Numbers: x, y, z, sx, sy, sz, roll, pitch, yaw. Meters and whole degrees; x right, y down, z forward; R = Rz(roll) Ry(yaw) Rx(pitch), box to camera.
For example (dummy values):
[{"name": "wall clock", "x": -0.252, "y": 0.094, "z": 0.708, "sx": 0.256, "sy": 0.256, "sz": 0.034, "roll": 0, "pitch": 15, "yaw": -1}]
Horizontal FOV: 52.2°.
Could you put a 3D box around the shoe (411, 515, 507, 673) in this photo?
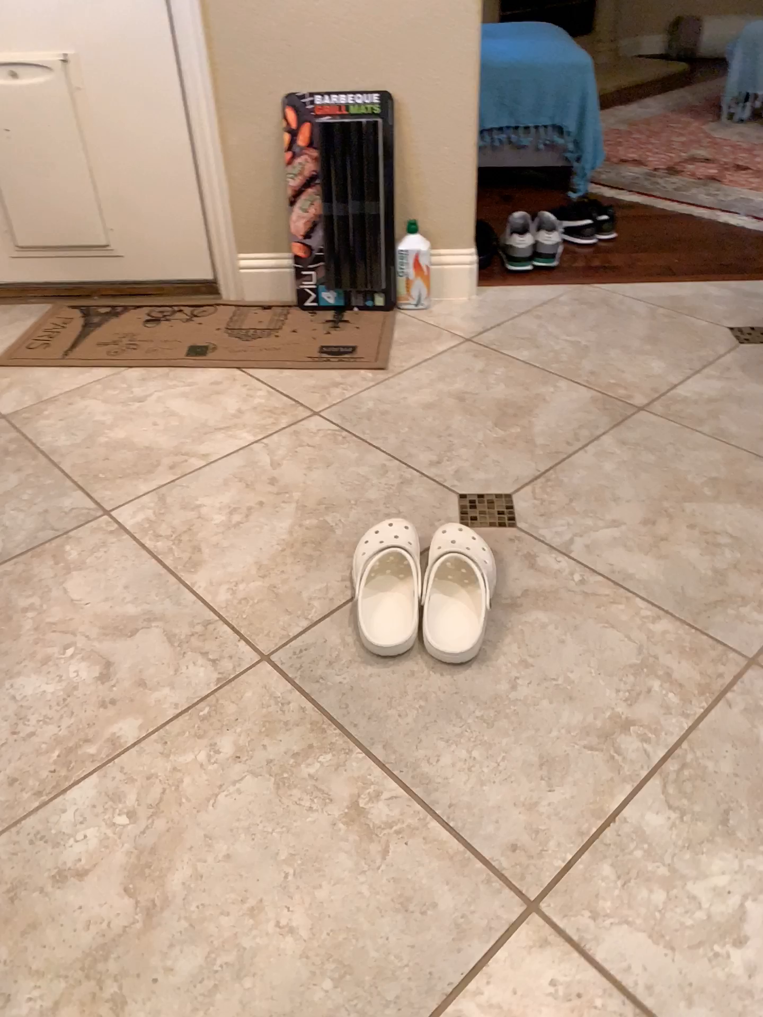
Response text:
[{"name": "shoe", "x": 0.123, "y": 0.122, "z": 1.192, "sx": 0.129, "sy": 0.073, "sz": 0.262, "roll": 3, "pitch": 38, "yaw": 8}]

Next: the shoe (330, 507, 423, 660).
[{"name": "shoe", "x": 0.000, "y": 0.107, "z": 1.201, "sx": 0.119, "sy": 0.073, "sz": 0.262, "roll": 1, "pitch": 37, "yaw": 5}]
